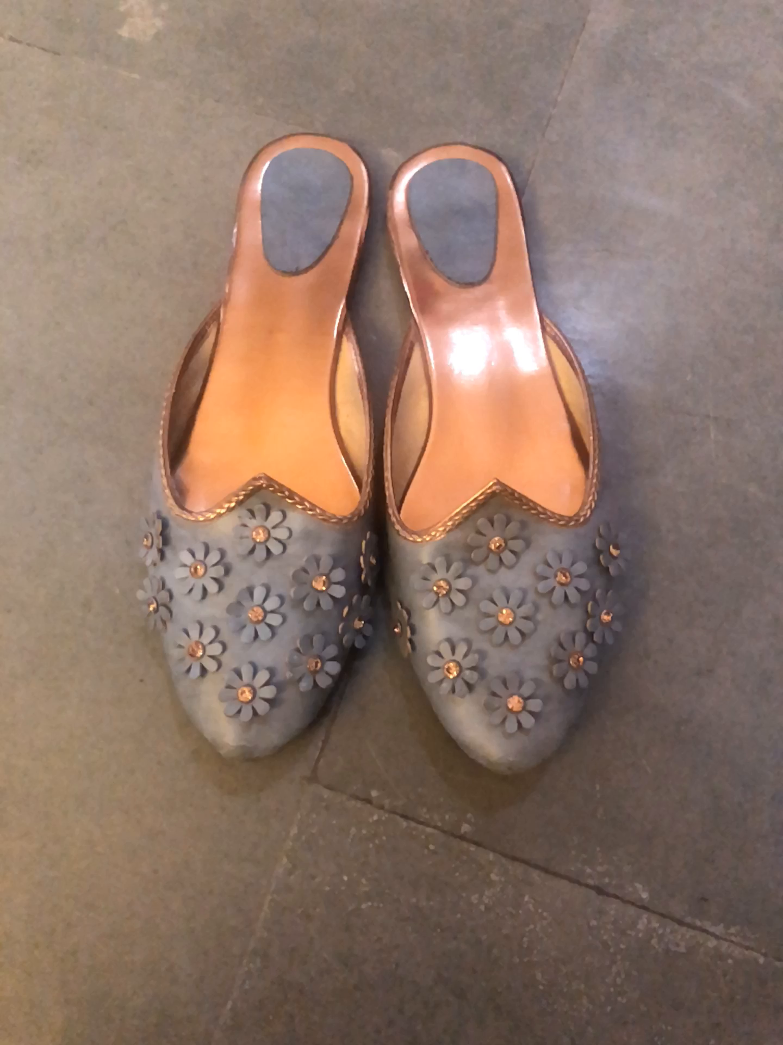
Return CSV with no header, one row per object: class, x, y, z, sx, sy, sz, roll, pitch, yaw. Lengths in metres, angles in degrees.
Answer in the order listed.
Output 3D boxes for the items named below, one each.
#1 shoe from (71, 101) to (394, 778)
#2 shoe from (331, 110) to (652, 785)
shoe,-0.054,-0.039,0.356,0.100,0.050,0.270,2,75,1
shoe,0.033,-0.036,0.361,0.100,0.050,0.270,-4,75,0
